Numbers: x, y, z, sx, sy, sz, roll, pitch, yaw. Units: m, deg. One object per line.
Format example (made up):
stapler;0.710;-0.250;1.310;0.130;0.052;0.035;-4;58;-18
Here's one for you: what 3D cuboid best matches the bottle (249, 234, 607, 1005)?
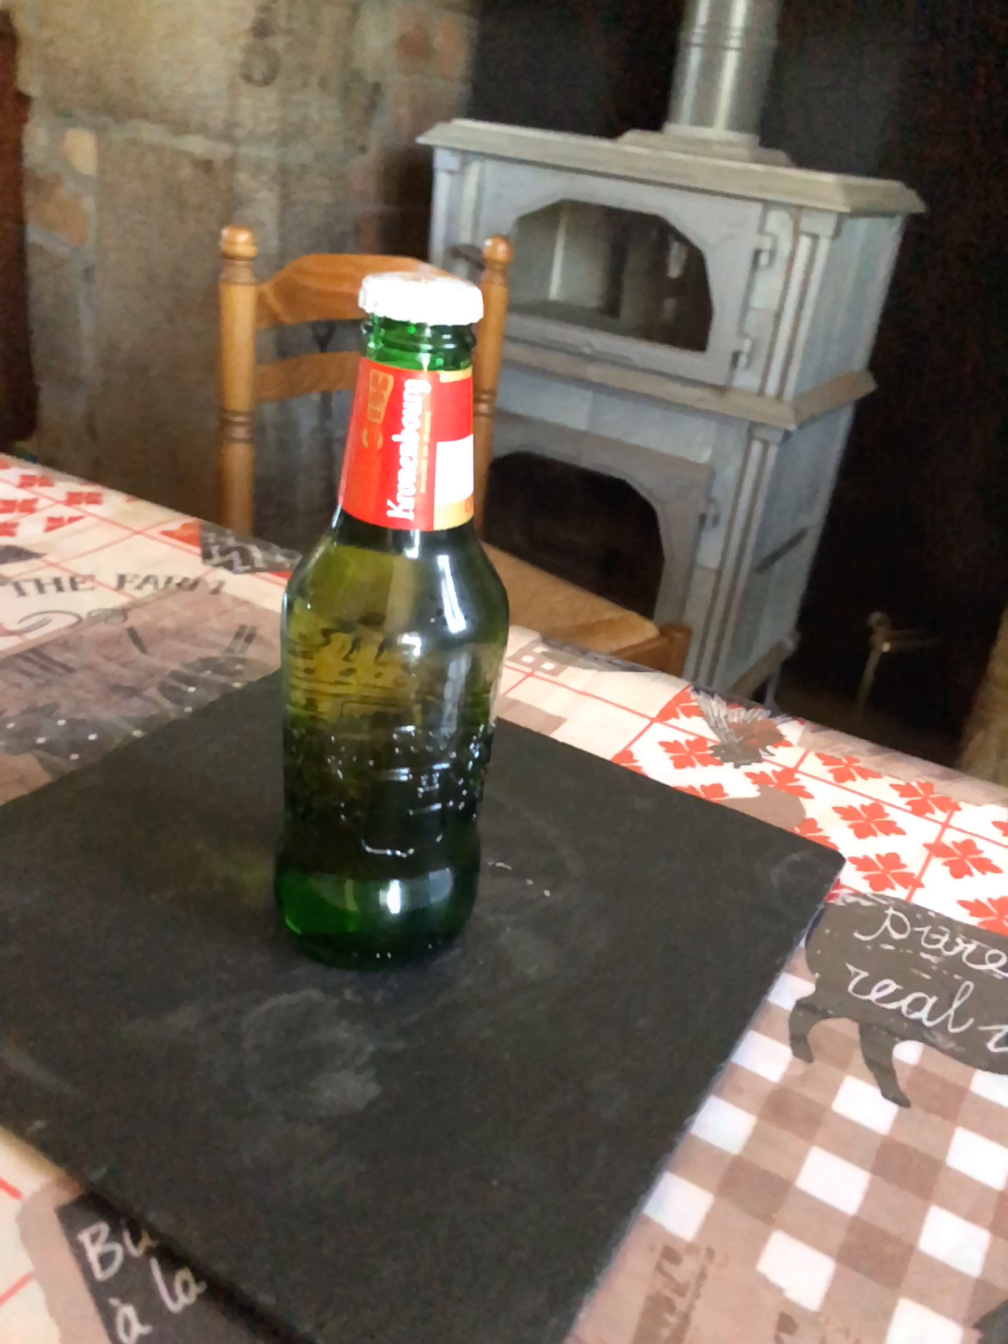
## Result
bottle;-0.022;-0.011;0.286;0.060;0.179;0.060;6;26;-3
